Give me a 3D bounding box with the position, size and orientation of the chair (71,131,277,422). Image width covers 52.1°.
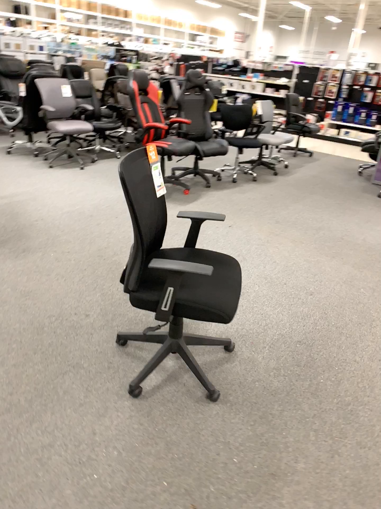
[{"bbox_3d":[-0.045,0.046,1.748,0.640,0.995,0.673,11,27,11],"label":"chair"}]
